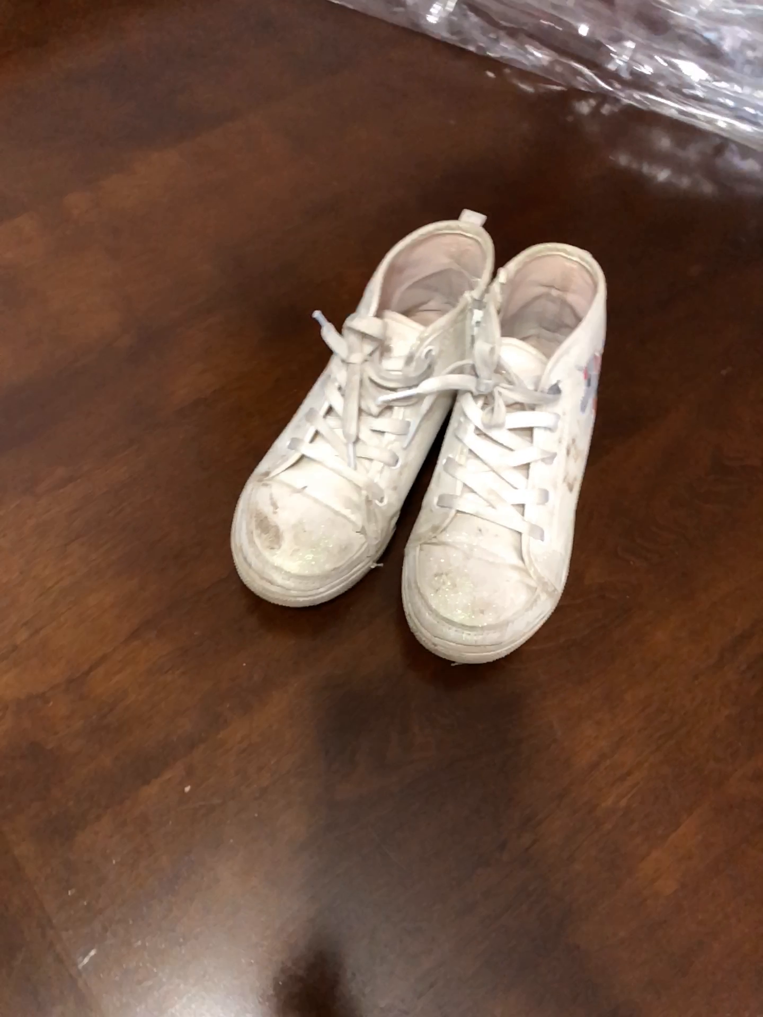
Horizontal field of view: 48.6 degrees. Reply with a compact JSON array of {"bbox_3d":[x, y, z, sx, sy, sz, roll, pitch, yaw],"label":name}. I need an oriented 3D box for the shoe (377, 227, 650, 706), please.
[{"bbox_3d":[0.071,-0.025,0.448,0.090,0.100,0.220,14,62,4],"label":"shoe"}]

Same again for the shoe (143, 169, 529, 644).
[{"bbox_3d":[-0.015,-0.058,0.449,0.090,0.100,0.220,26,63,10],"label":"shoe"}]
